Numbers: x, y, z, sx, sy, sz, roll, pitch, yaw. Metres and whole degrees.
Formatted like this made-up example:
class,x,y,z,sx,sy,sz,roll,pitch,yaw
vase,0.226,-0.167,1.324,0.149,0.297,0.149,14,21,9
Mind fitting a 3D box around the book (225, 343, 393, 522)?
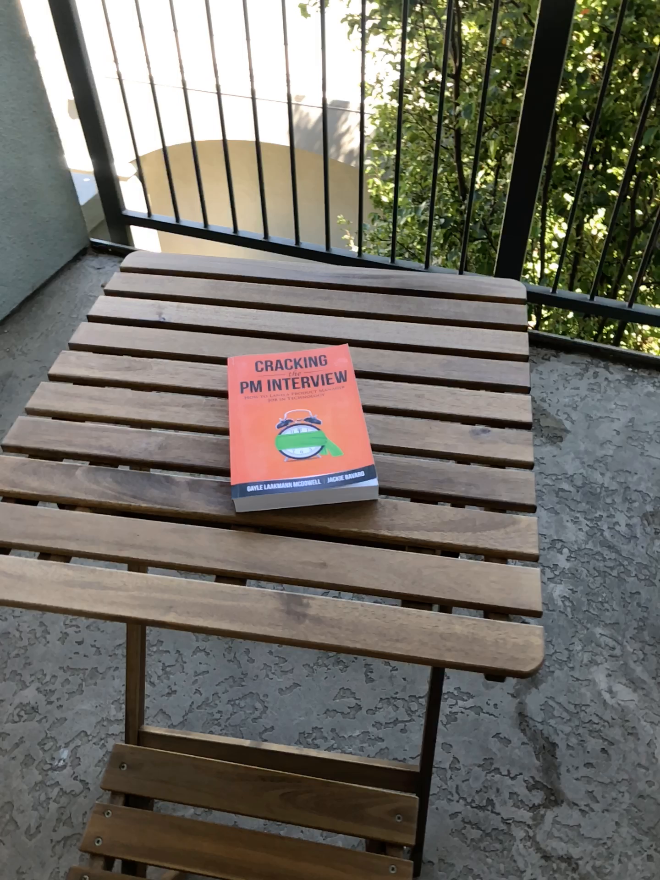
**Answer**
class,x,y,z,sx,sy,sz,roll,pitch,yaw
book,-0.032,-0.018,0.839,0.170,0.040,0.231,-5,46,-4
